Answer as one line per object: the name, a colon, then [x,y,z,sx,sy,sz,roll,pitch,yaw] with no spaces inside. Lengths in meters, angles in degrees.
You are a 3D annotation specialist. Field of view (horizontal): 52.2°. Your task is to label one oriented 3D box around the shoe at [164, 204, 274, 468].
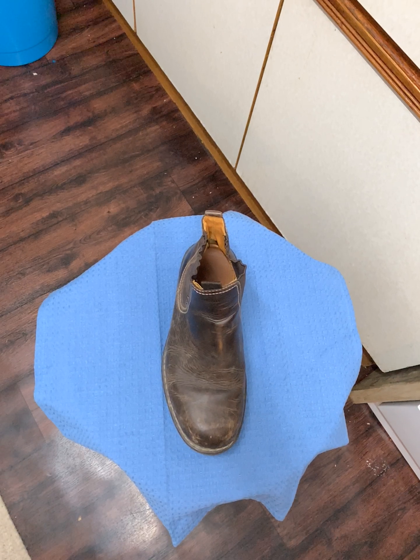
shoe: [0.001,0.071,0.527,0.105,0.157,0.279,2,71,-6]
